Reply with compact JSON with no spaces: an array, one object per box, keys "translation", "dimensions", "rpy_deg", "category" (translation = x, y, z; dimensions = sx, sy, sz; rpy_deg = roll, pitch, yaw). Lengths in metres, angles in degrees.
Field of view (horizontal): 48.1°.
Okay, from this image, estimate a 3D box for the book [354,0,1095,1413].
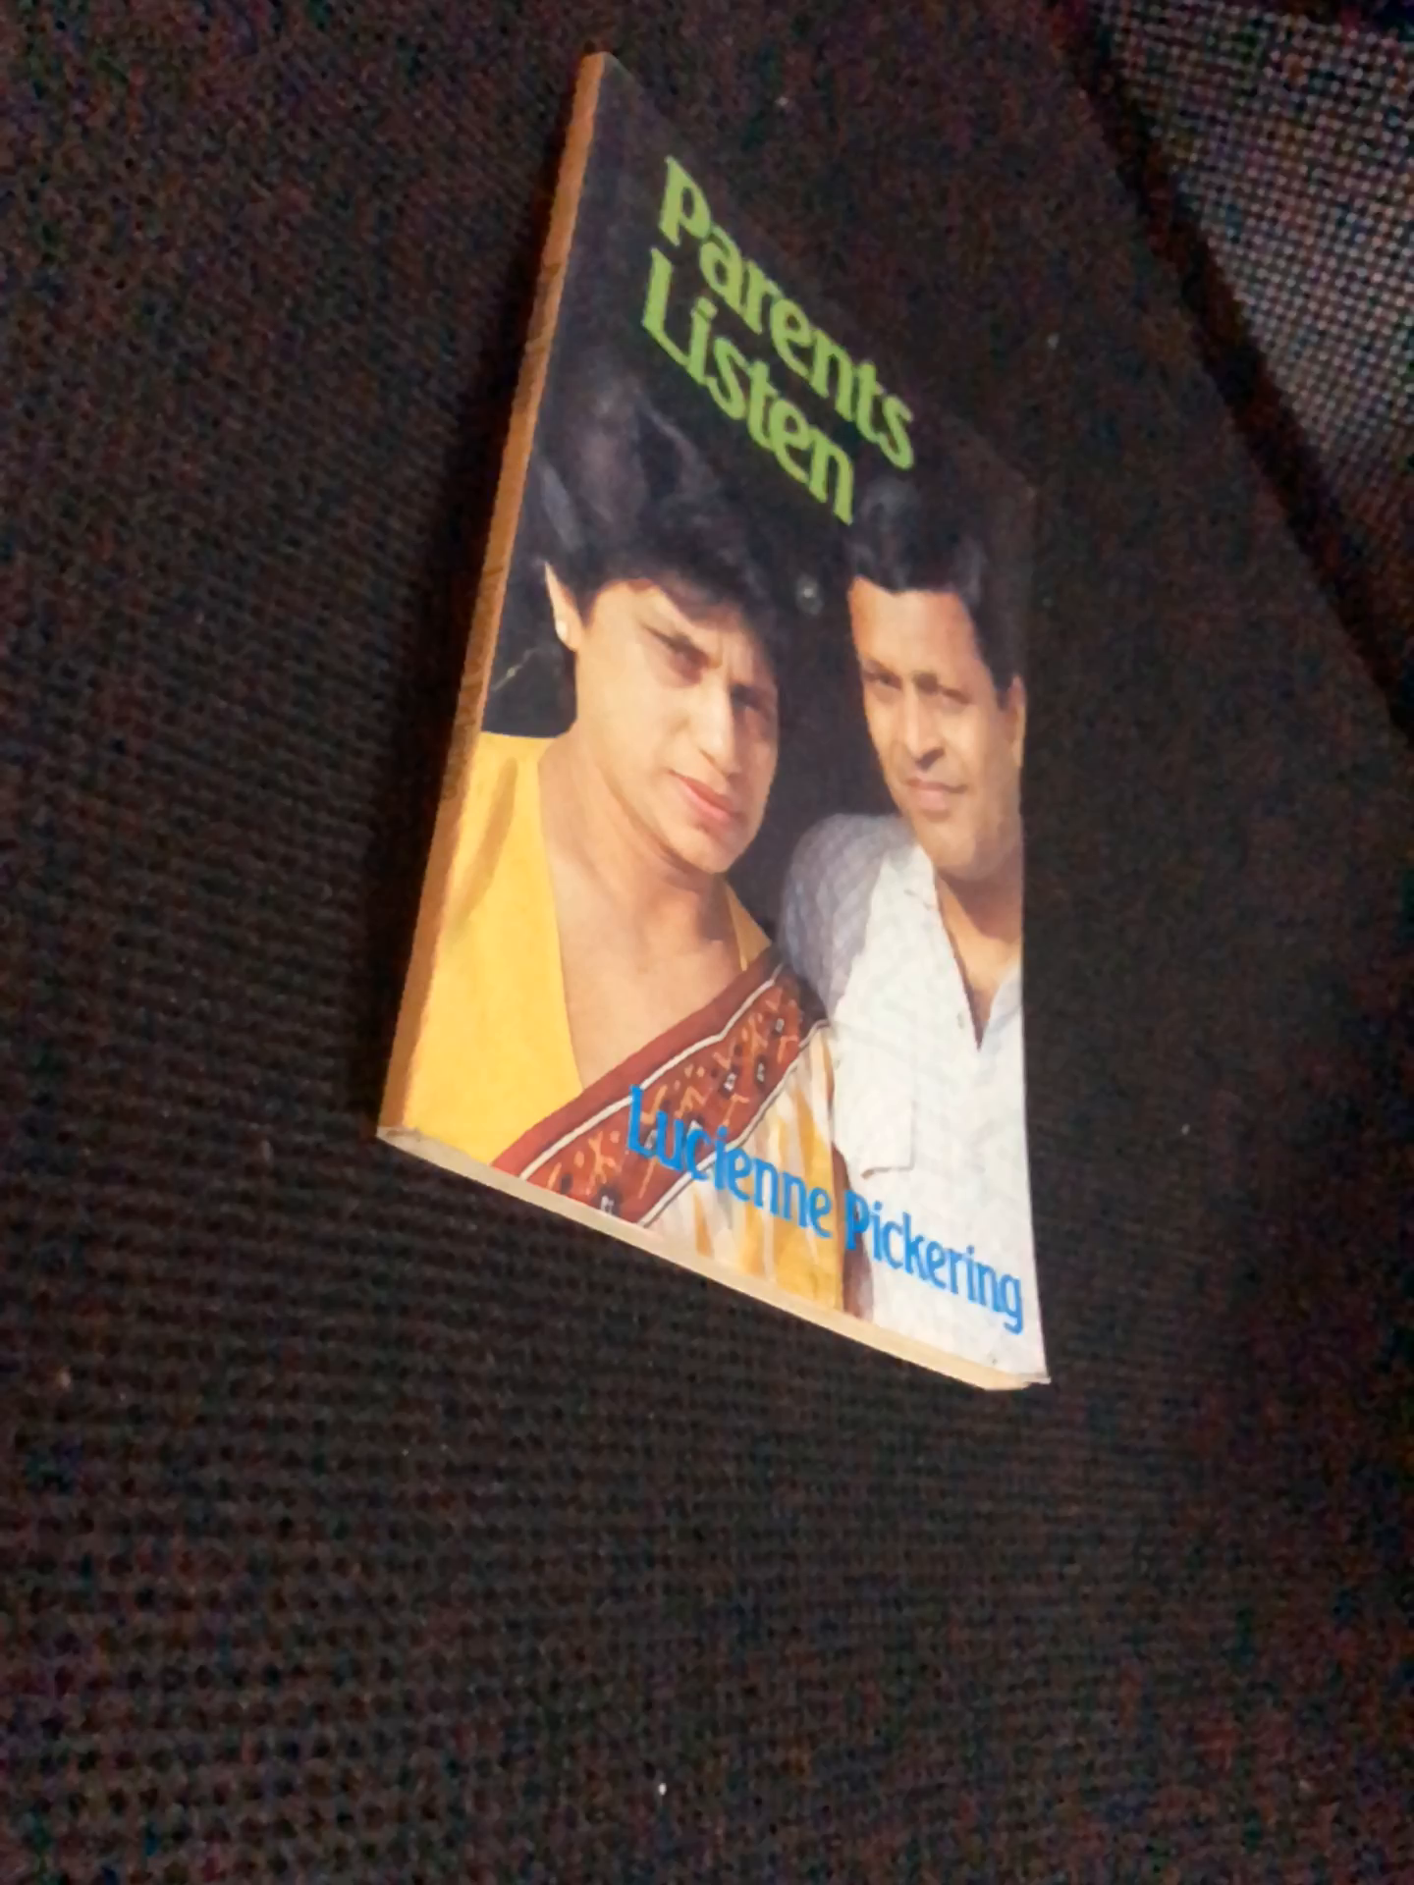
[{"translation":[0.018,-0.038,0.247],"dimensions":[0.130,0.010,0.191],"rpy_deg":[31,52,-39],"category":"book"}]
